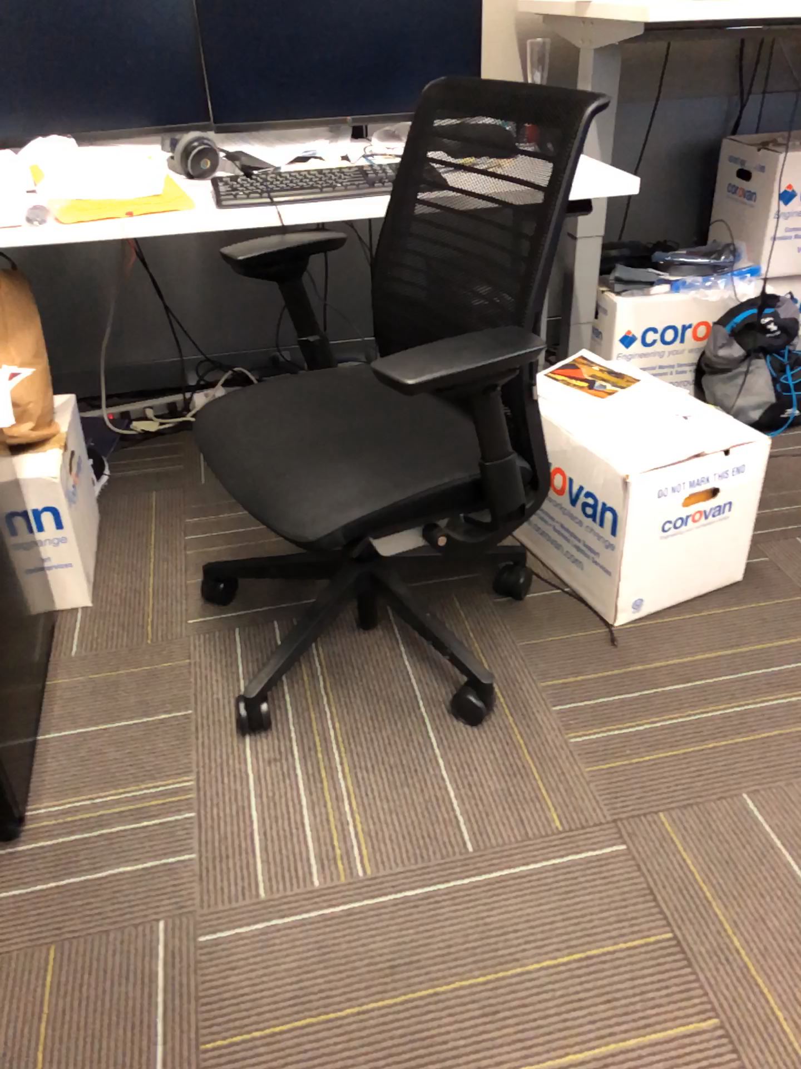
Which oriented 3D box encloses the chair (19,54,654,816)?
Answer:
[{"bbox_3d":[-0.109,-0.219,1.427,0.611,0.935,0.673,-20,37,-26],"label":"chair"}]
